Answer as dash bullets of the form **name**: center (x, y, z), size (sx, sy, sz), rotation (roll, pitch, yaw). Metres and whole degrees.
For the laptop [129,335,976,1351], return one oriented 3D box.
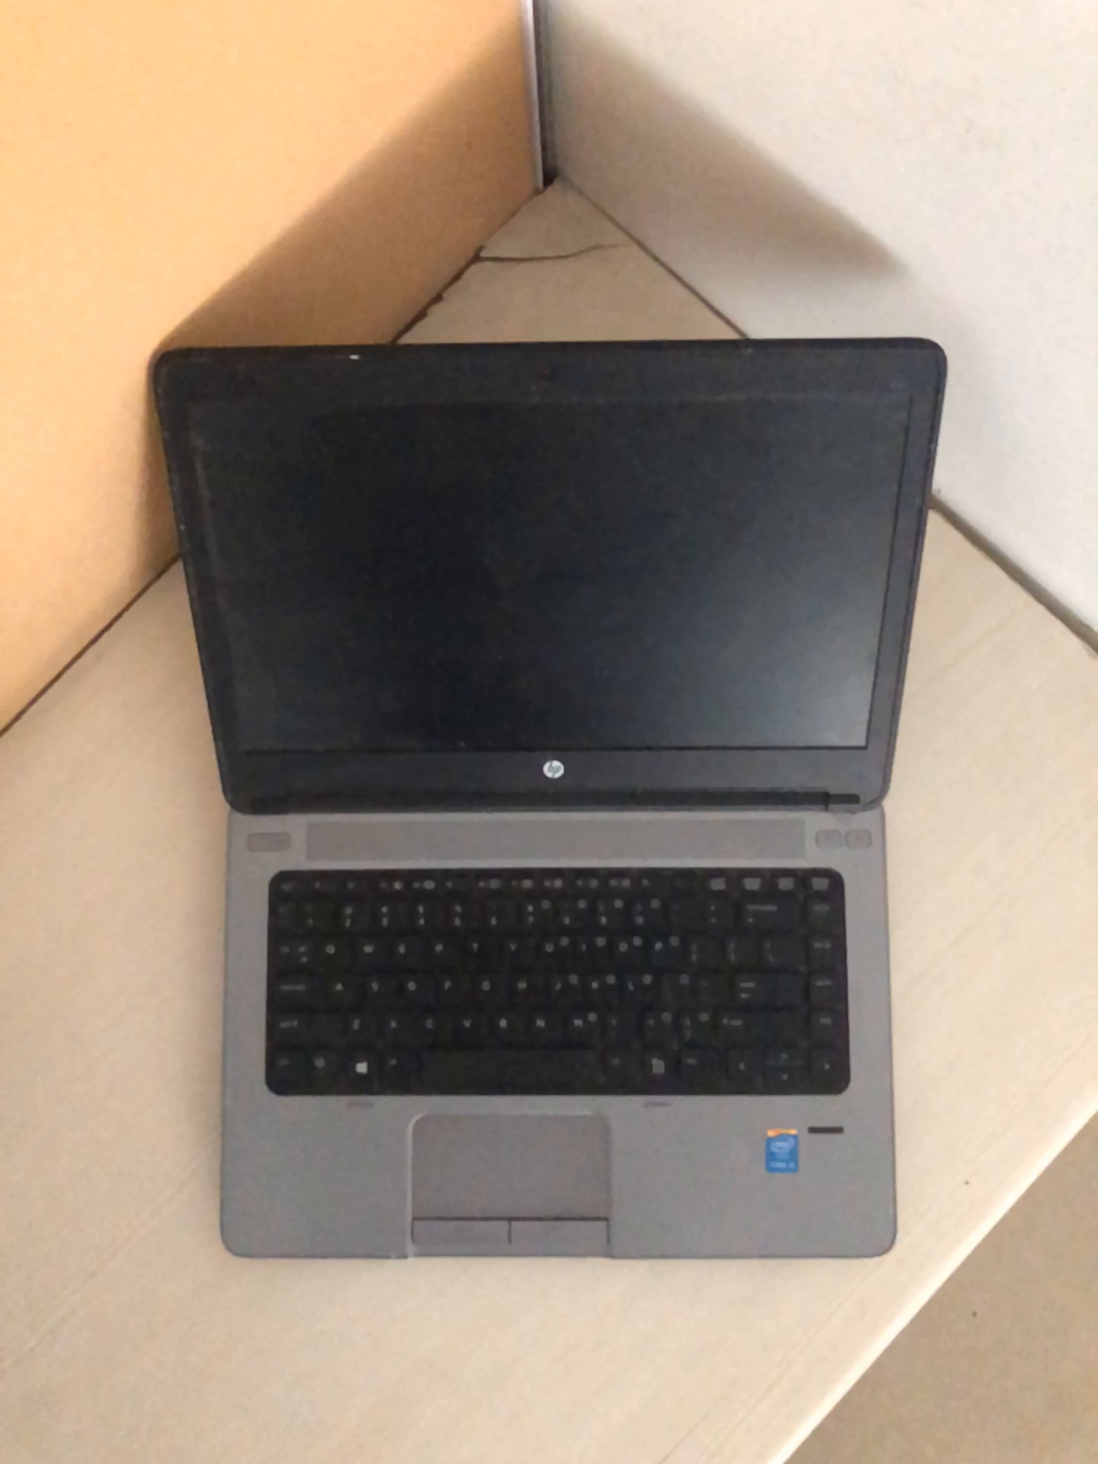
- **laptop**: center (0.004, 0.045, 0.533), size (0.316, 0.126, 0.391), rotation (0, 84, 1)
